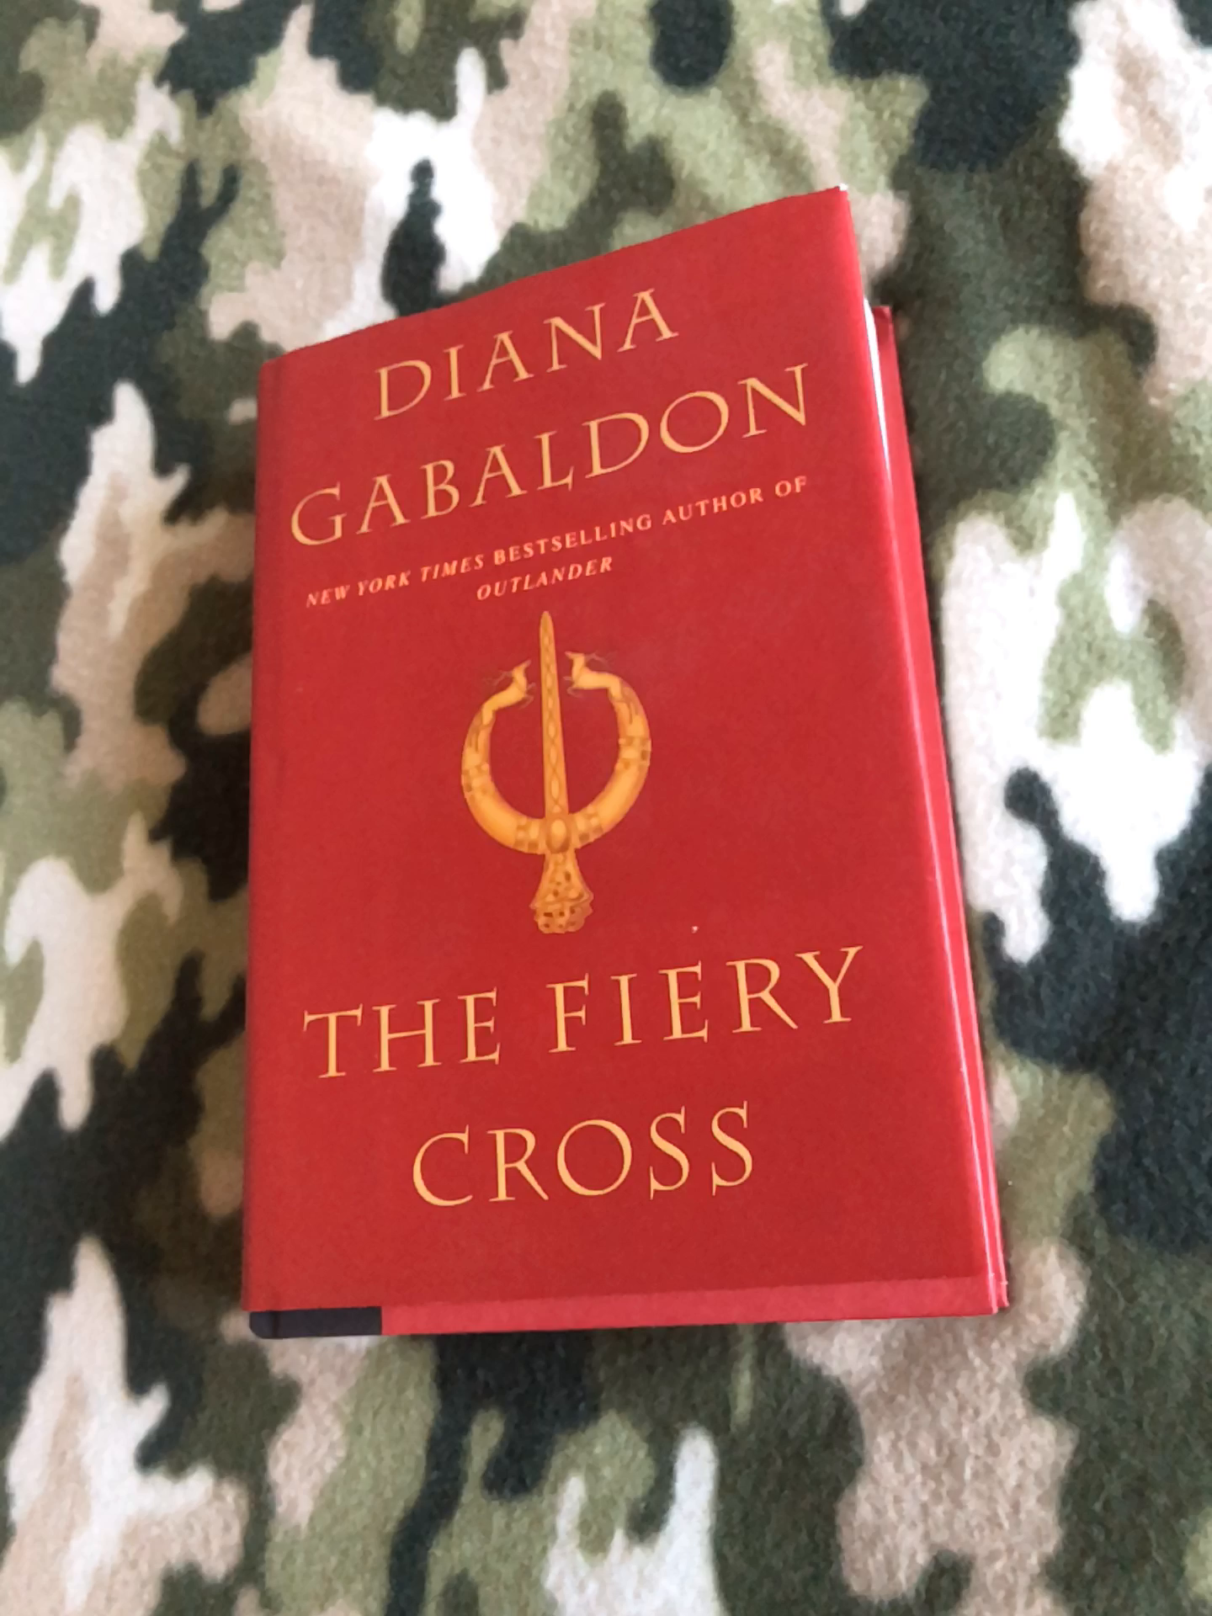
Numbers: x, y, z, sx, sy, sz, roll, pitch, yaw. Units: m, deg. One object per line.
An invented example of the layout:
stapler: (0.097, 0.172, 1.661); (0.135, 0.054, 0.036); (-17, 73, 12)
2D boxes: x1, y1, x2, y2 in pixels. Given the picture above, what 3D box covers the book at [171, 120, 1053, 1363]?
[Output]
book: (-0.004, -0.011, 0.316); (0.170, 0.070, 0.250); (-9, 72, 17)
